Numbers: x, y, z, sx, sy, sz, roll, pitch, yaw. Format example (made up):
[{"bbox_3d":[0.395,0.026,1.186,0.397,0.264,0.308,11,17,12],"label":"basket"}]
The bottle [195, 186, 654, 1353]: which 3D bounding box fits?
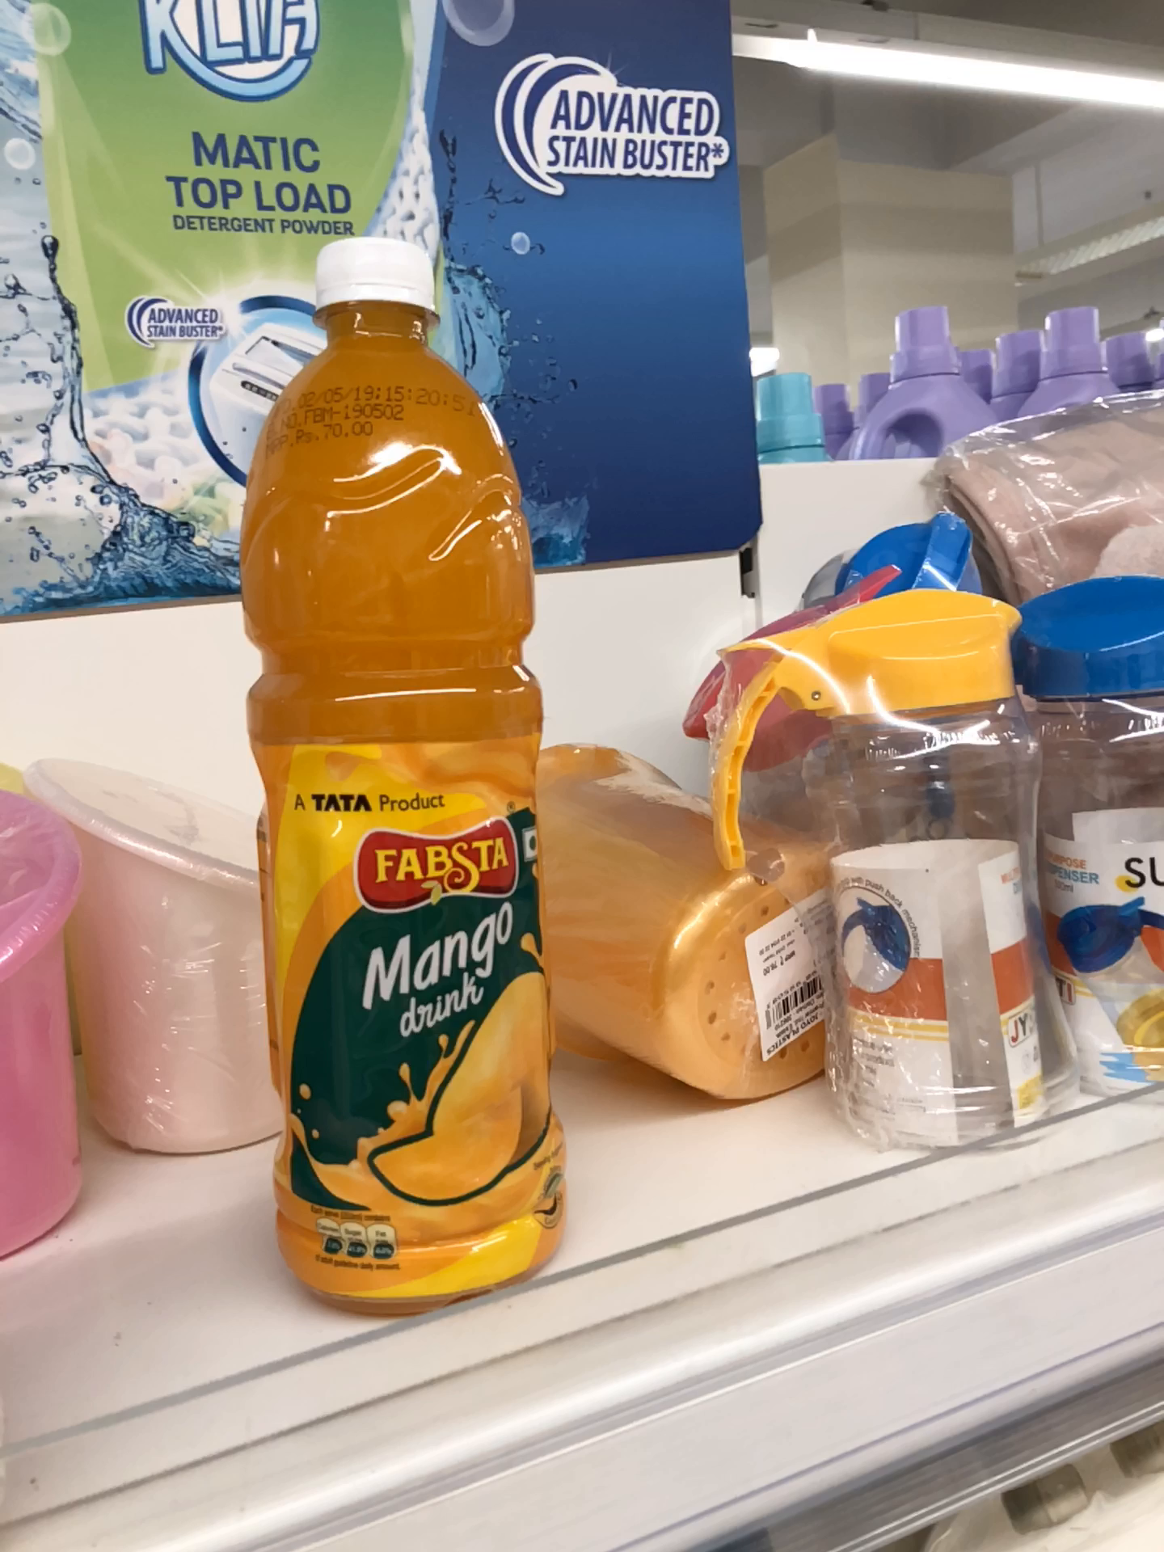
[{"bbox_3d":[-0.043,-0.003,0.341,0.090,0.260,0.080,-4,5,-27],"label":"bottle"}]
